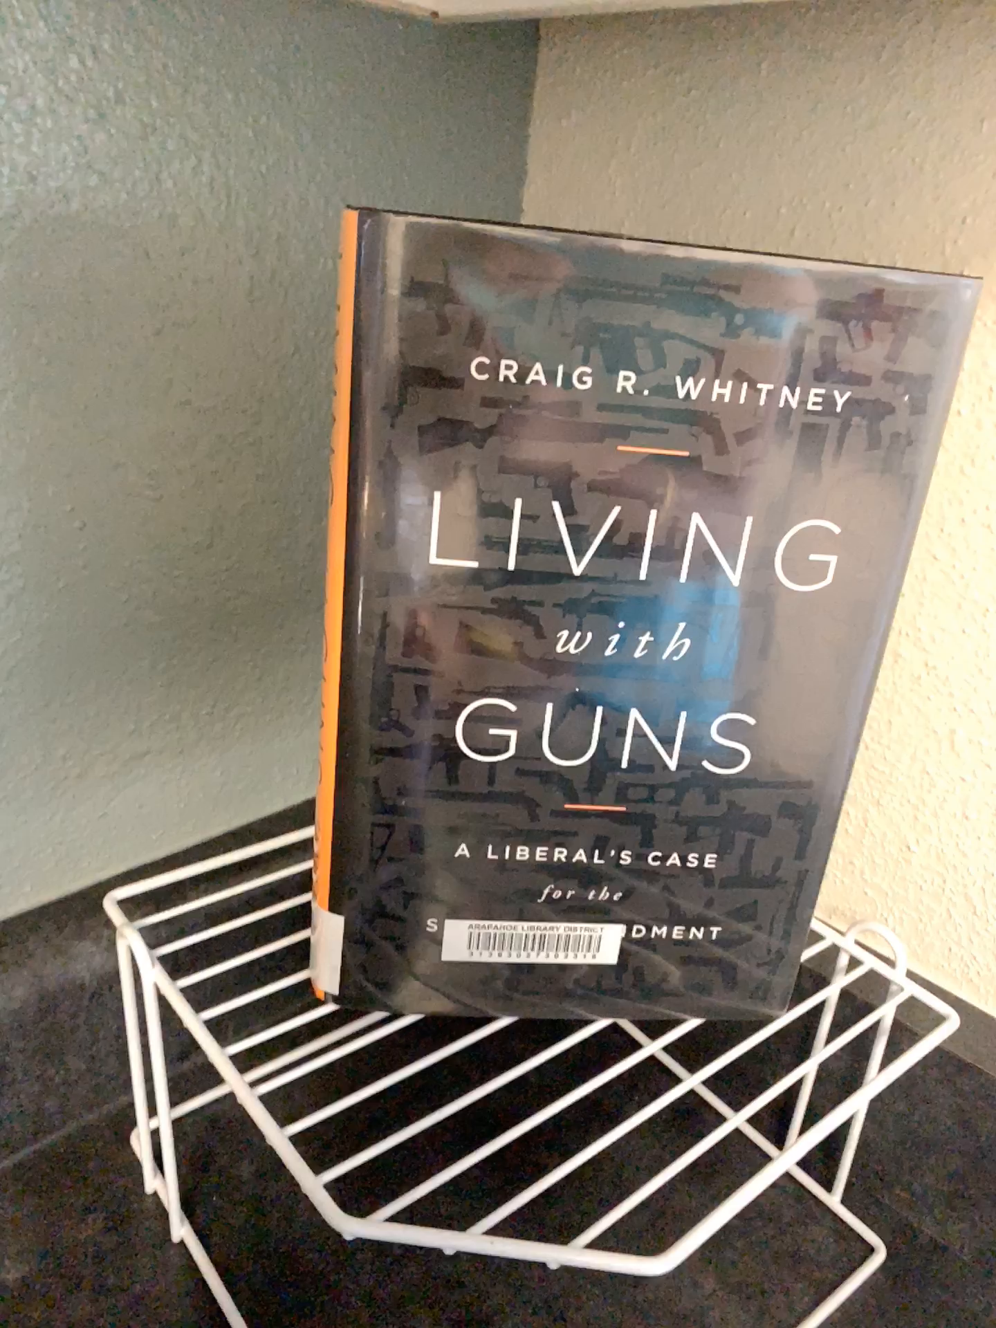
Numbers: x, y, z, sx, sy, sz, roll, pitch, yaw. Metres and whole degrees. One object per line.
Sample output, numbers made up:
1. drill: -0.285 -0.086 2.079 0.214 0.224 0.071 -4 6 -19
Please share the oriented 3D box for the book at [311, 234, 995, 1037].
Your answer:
1. book: 0.033 0.001 0.310 0.171 0.229 0.040 3 18 -3
